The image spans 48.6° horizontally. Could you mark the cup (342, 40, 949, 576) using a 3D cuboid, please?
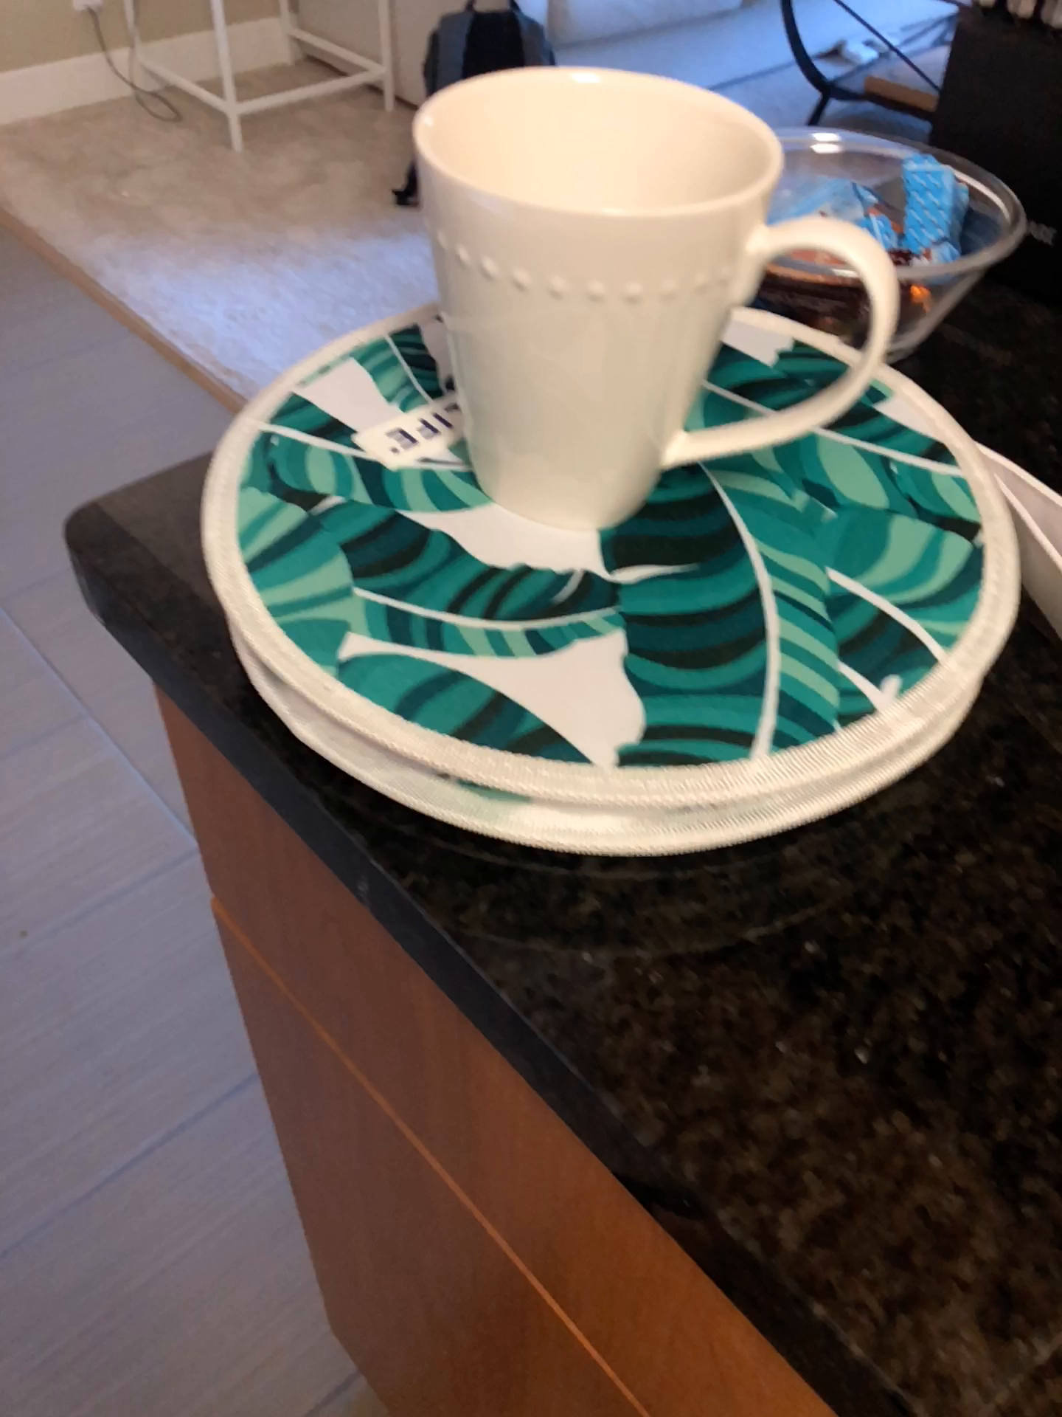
[{"bbox_3d":[0.031,-0.113,0.322,0.130,0.090,0.090,15,46,13],"label":"cup"}]
